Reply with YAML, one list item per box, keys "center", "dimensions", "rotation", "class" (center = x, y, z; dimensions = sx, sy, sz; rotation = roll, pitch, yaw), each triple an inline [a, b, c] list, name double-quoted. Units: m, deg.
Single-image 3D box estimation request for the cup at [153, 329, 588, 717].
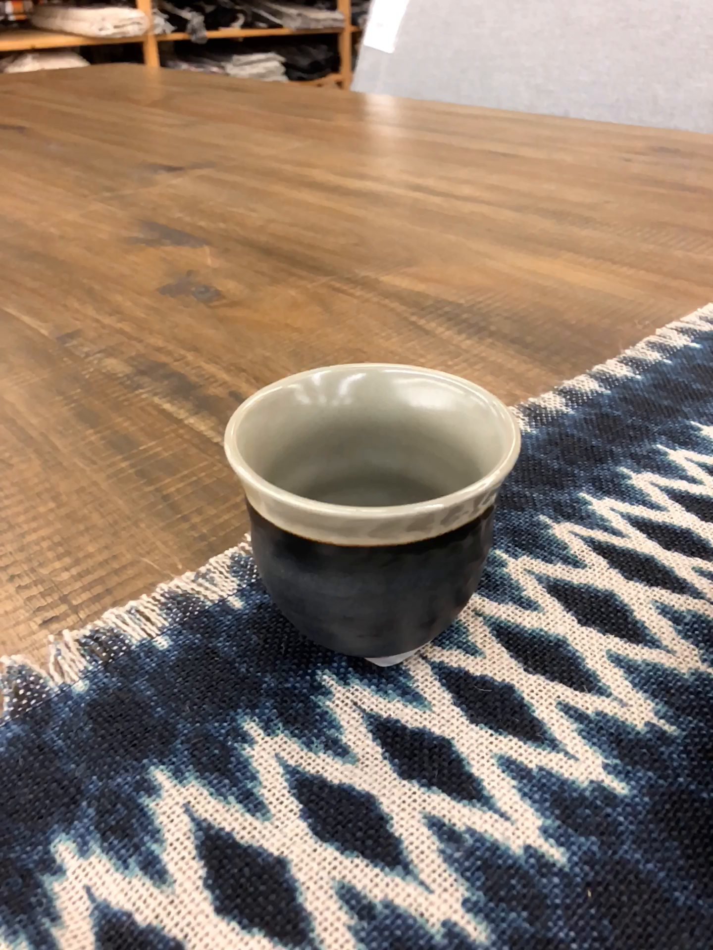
- center: [0.002, 0.005, 0.221]
  dimensions: [0.078, 0.048, 0.085]
  rotation: [-2, 33, 1]
  class: "cup"
